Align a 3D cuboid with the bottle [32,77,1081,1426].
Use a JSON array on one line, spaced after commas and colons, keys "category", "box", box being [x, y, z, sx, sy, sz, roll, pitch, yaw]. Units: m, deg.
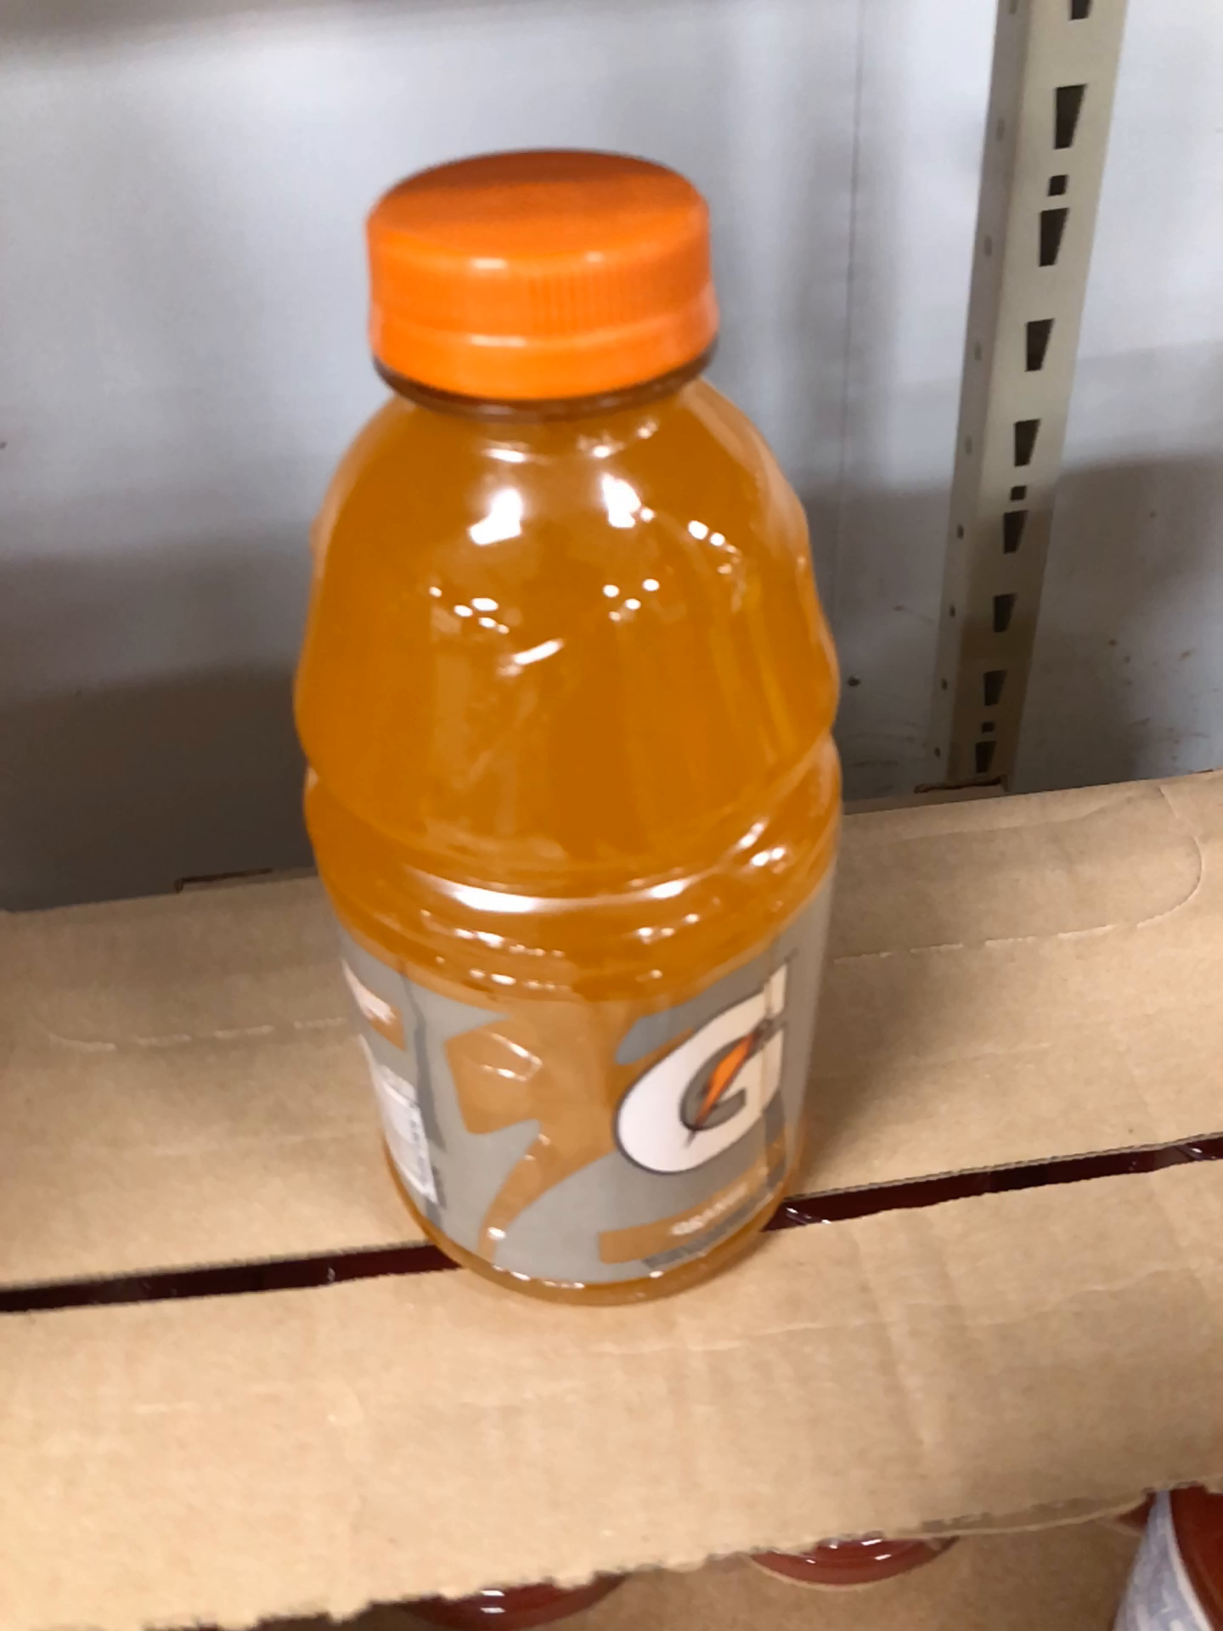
[{"category": "bottle", "box": [-0.006, -0.009, 0.226, 0.092, 0.180, 0.100, -3, 39, 2]}]
